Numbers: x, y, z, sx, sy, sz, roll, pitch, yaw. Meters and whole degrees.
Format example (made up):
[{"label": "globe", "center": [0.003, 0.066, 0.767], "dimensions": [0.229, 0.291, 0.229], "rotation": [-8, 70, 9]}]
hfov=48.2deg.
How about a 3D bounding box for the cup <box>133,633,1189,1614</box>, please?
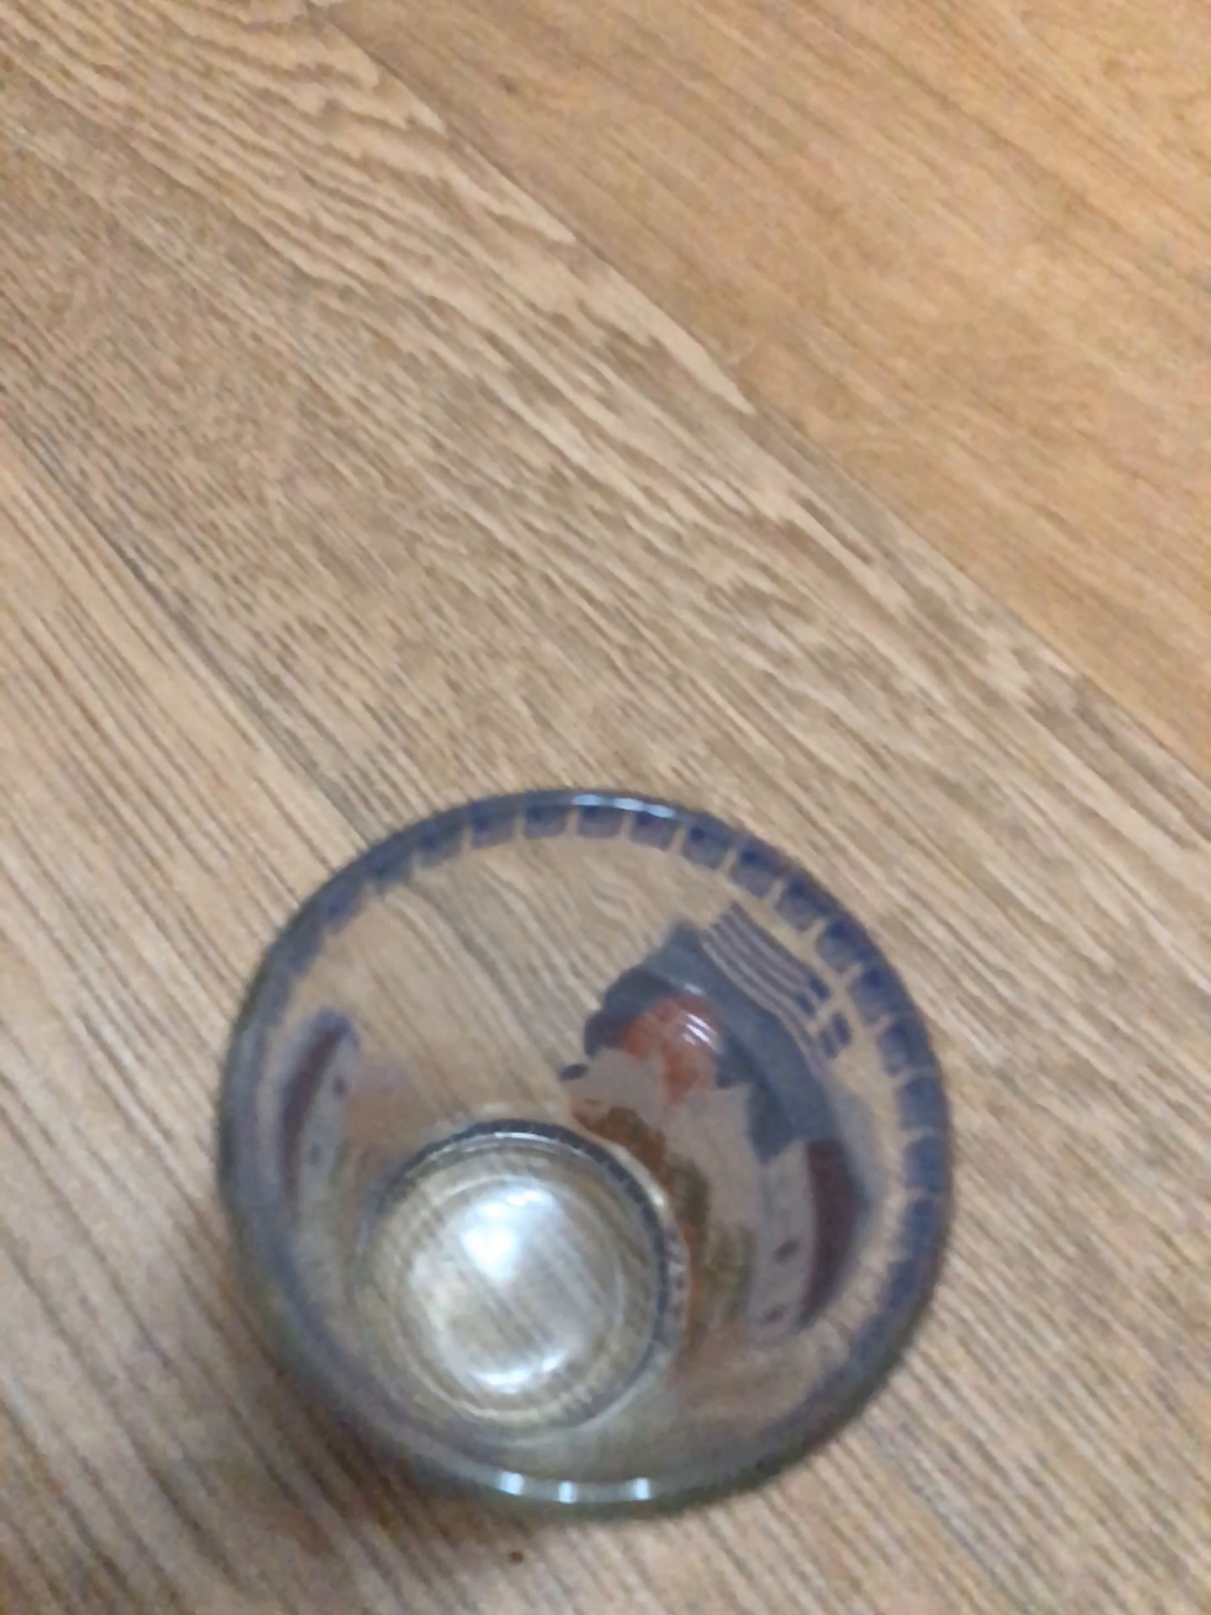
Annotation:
[{"label": "cup", "center": [0.000, 0.031, 0.113], "dimensions": [0.050, 0.060, 0.050], "rotation": [5, 57, -8]}]
